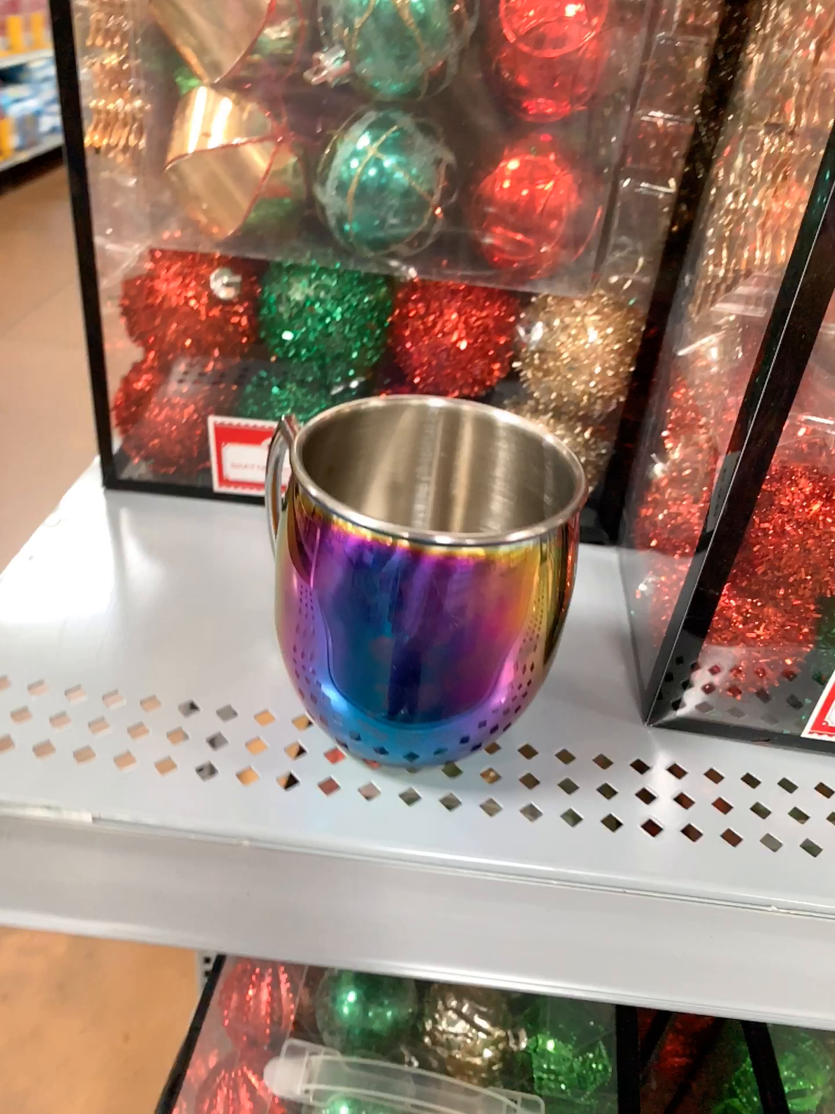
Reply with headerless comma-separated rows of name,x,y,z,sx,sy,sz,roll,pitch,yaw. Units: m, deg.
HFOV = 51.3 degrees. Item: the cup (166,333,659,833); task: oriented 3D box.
cup,-0.005,-0.001,0.271,0.110,0.090,0.087,27,39,26
